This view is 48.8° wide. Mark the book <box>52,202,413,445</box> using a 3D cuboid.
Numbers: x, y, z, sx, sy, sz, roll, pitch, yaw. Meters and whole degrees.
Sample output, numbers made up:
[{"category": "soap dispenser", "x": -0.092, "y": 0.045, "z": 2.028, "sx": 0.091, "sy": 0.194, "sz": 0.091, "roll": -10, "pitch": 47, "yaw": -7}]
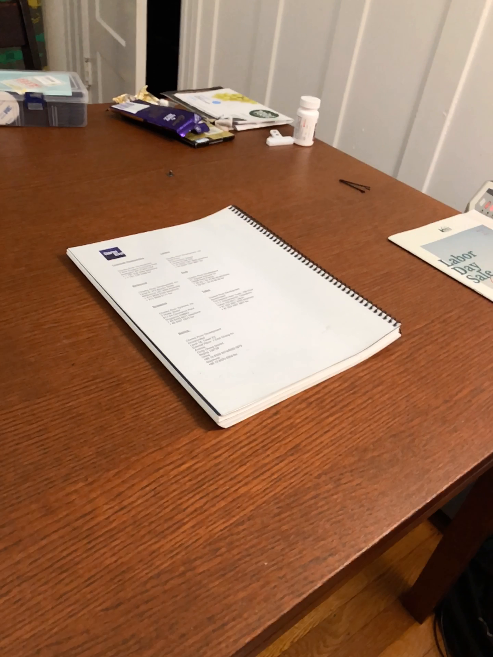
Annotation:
[{"category": "book", "x": -0.023, "y": -0.037, "z": 0.550, "sx": 0.231, "sy": 0.020, "sz": 0.301, "roll": -21, "pitch": 47, "yaw": -34}]
